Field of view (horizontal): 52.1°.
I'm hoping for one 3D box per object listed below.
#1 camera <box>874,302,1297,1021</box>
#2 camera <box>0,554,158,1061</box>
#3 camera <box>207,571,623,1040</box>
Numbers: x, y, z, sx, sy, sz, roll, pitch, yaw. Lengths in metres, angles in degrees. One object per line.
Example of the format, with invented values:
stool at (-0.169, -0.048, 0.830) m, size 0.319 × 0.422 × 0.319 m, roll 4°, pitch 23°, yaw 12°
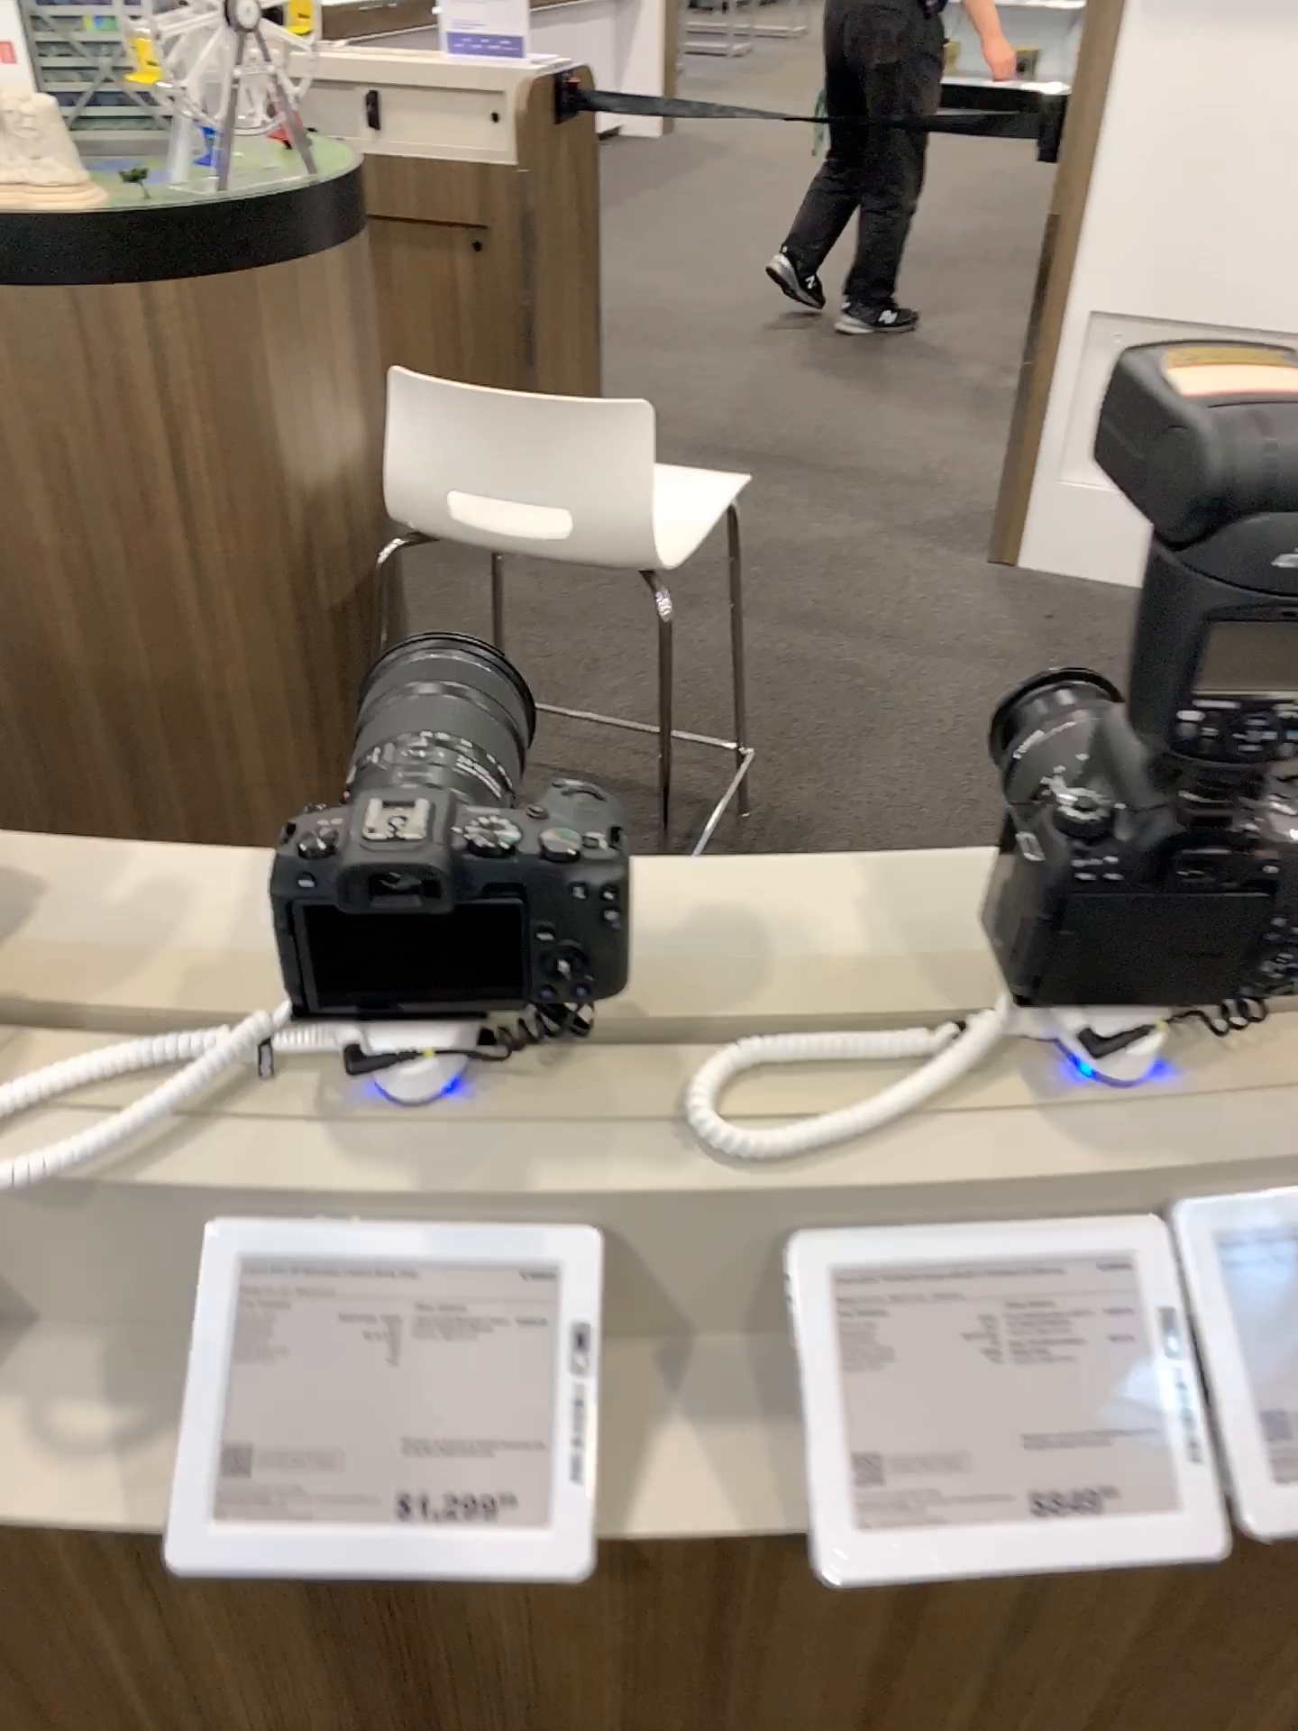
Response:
camera at (0.191, -0.080, 0.516) m, size 0.150 × 0.219 × 0.171 m, roll -1°, pitch 37°, yaw -3°
camera at (-0.322, -0.031, 0.546) m, size 0.150 × 0.119 × 0.171 m, roll 6°, pitch 37°, yaw 6°
camera at (-0.084, -0.035, 0.560) m, size 0.140 × 0.099 × 0.201 m, roll -1°, pitch 37°, yaw -3°
